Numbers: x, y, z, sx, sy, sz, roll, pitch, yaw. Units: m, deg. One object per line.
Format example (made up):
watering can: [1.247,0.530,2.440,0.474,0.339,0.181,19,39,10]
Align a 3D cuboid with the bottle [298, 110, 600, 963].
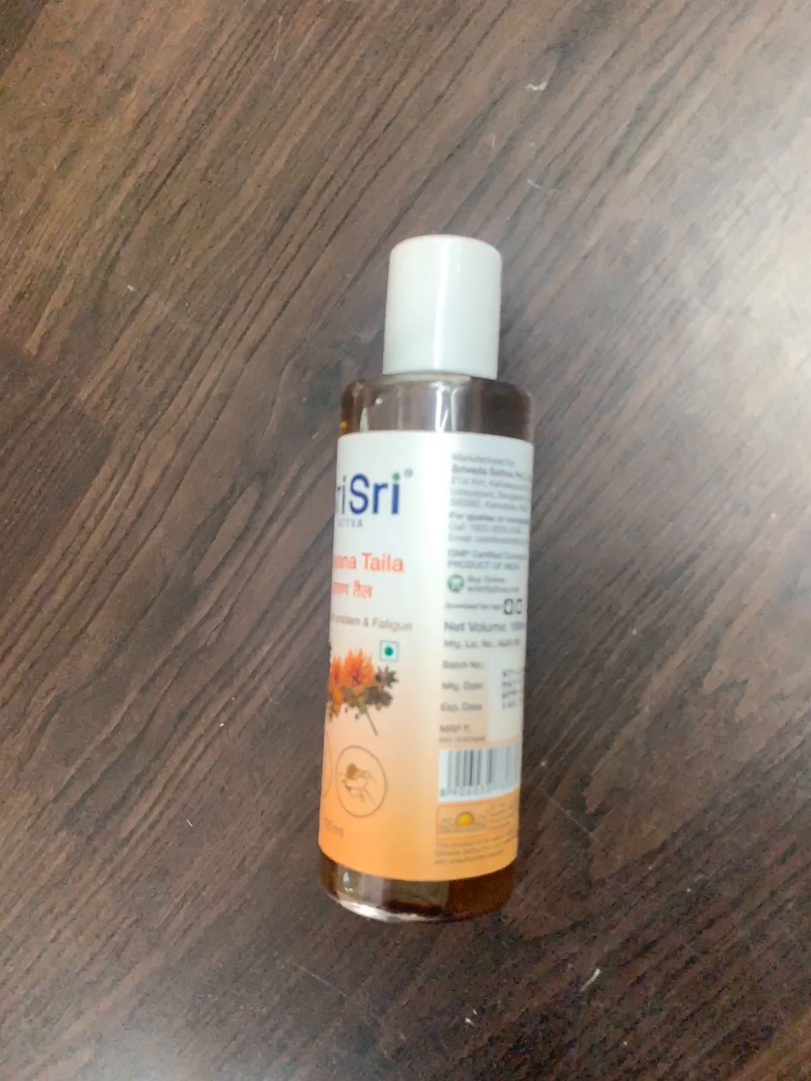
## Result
bottle: [0.009,-0.001,0.166,0.040,0.040,0.140,0,88,41]
